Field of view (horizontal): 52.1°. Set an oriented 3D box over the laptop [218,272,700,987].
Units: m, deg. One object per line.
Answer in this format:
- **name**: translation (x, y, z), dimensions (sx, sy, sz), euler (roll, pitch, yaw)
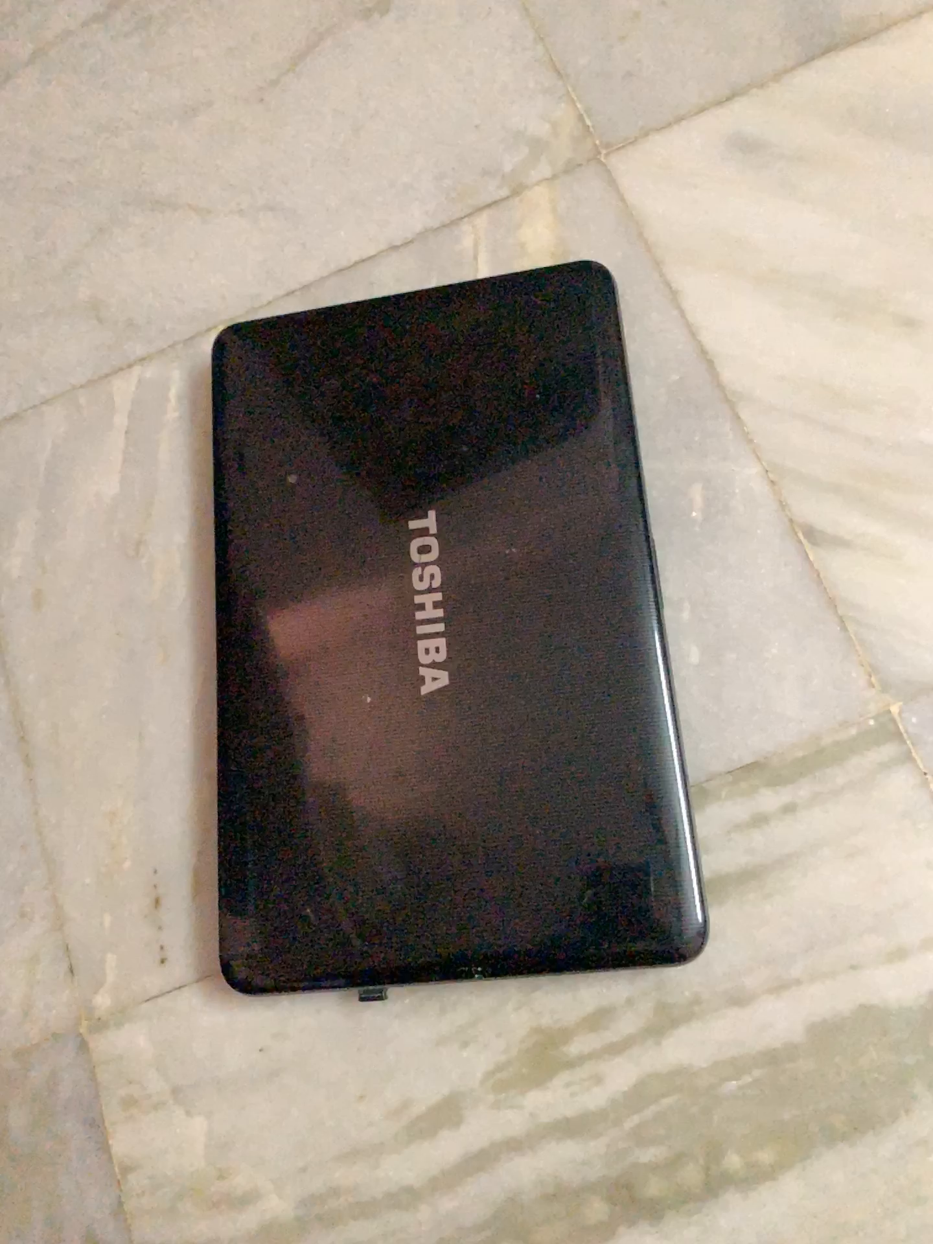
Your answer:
- **laptop**: translation (-0.018, -0.008, 0.498), dimensions (0.222, 0.003, 0.355), euler (-7, 75, 7)
